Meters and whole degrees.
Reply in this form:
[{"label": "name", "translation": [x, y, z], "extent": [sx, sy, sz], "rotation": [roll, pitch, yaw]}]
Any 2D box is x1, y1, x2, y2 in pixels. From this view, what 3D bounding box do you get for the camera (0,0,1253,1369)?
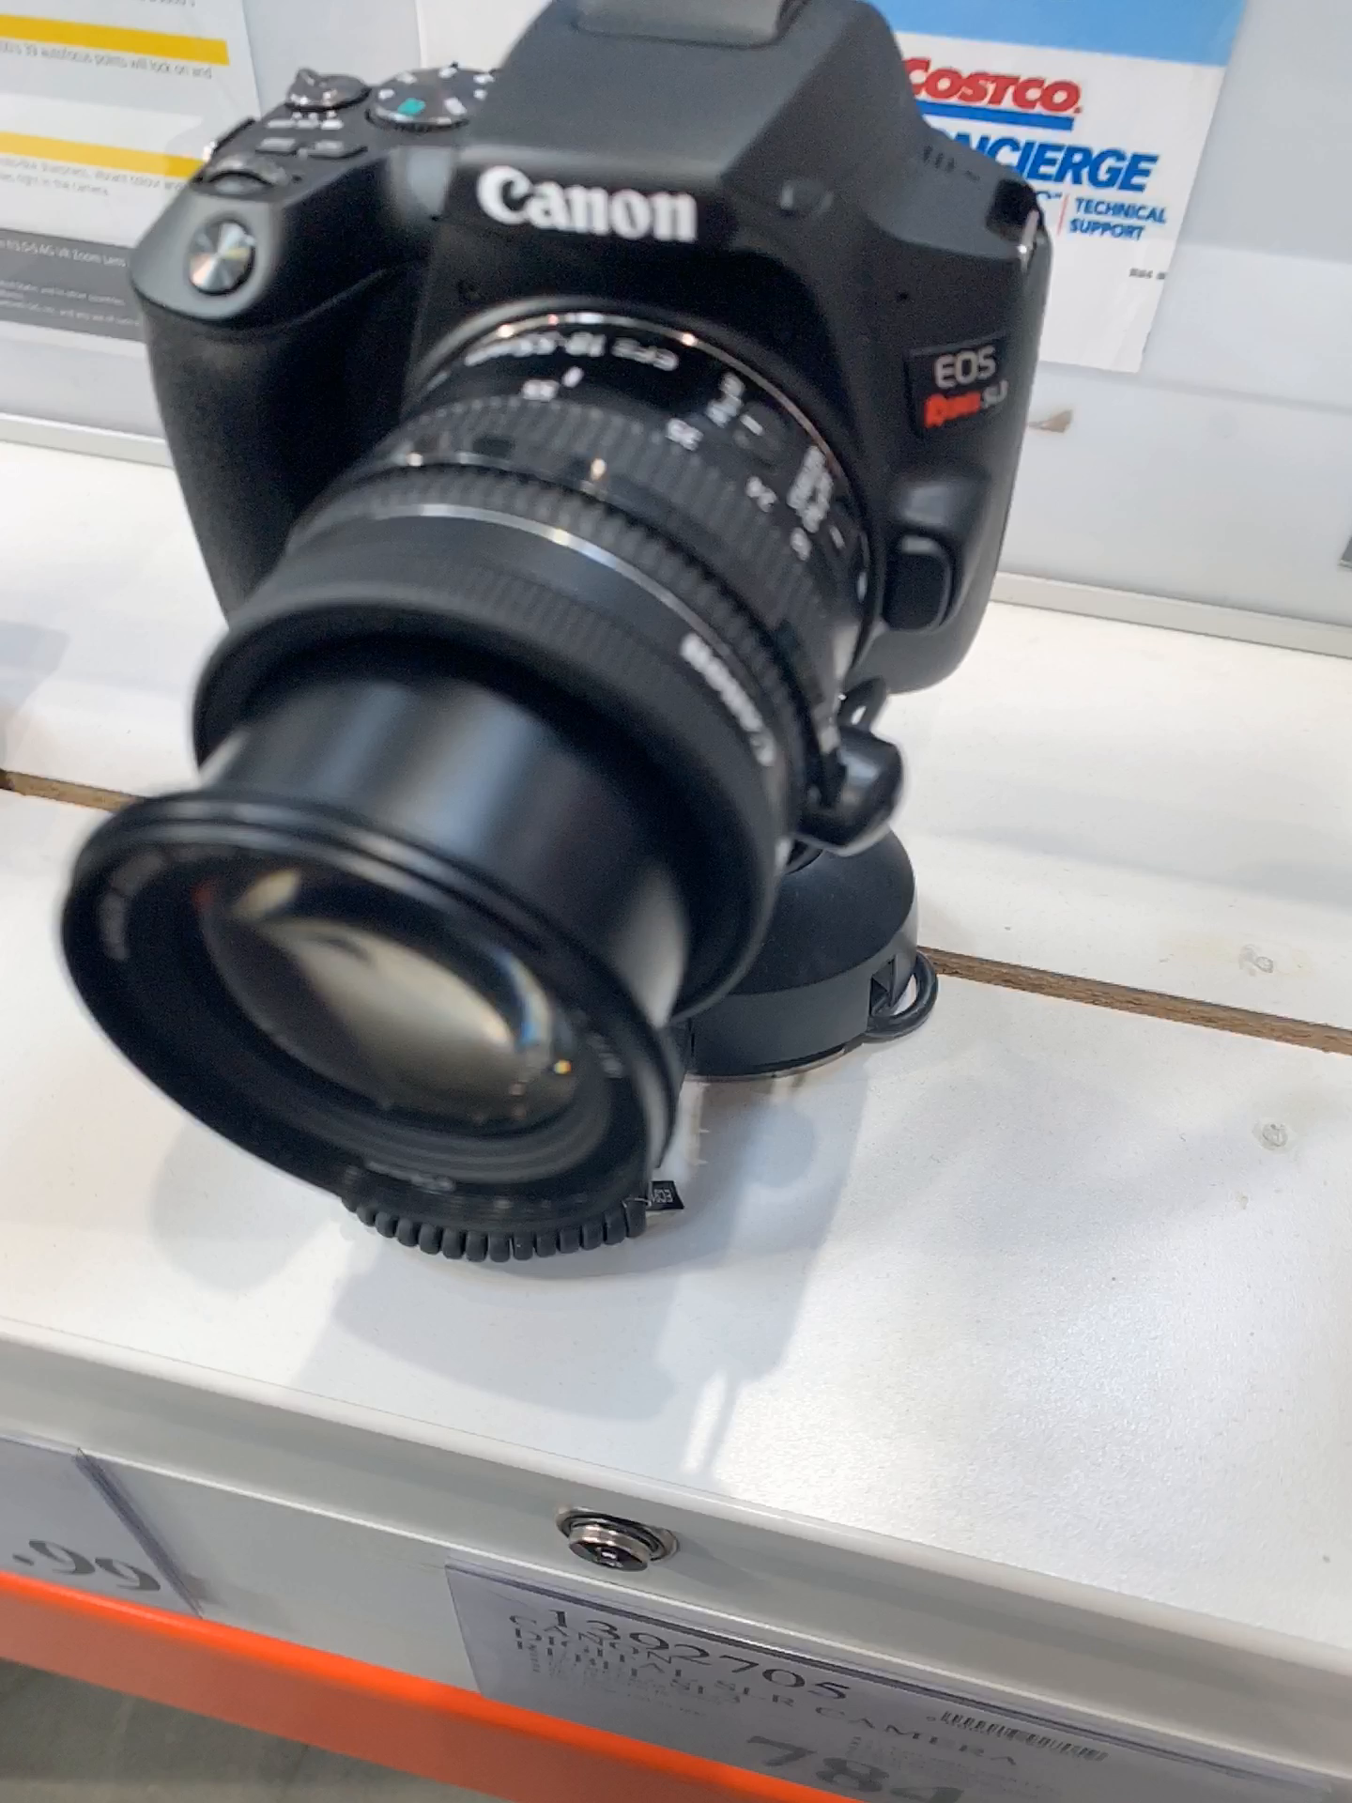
[{"label": "camera", "translation": [-0.015, -0.045, 0.155], "extent": [0.119, 0.079, 0.141], "rotation": [11, 48, 7]}]
